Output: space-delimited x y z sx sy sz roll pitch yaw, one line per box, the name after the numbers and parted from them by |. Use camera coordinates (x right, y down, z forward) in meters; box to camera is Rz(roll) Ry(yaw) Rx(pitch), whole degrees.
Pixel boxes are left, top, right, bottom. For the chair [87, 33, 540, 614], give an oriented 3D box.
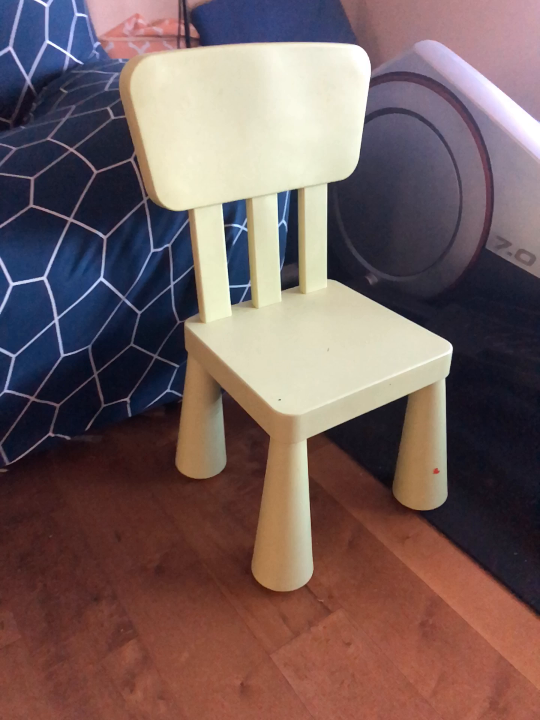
0.049 -0.090 0.838 0.391 0.636 0.412 -20 37 -31 | chair
